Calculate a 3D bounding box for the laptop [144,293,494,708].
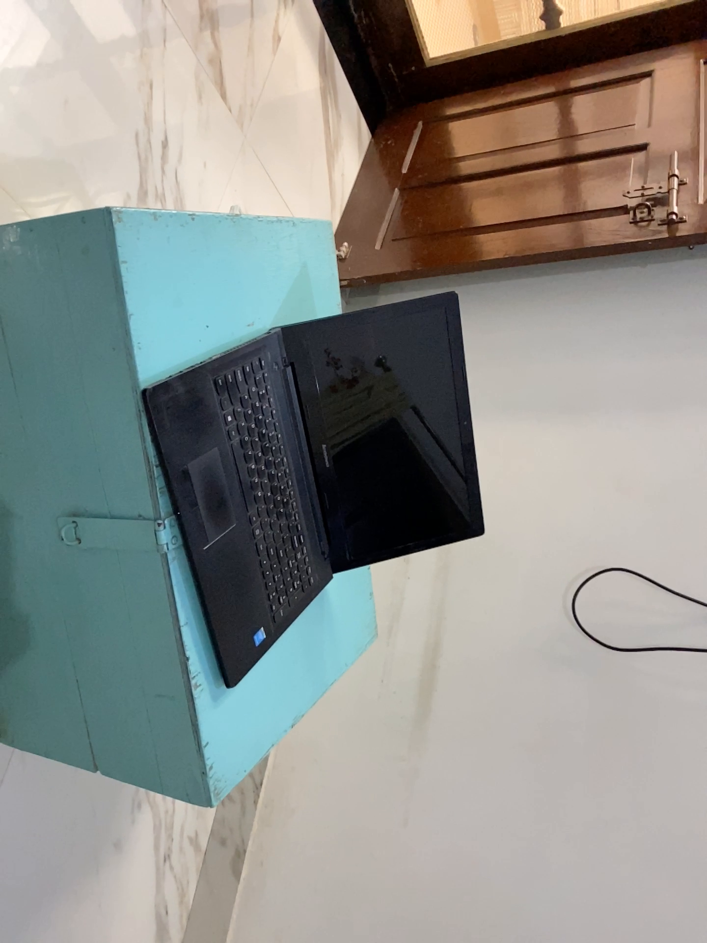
[{"bbox_3d":[0.003,0.006,0.928,0.425,0.190,0.371,-41,127,-53],"label":"laptop"}]
